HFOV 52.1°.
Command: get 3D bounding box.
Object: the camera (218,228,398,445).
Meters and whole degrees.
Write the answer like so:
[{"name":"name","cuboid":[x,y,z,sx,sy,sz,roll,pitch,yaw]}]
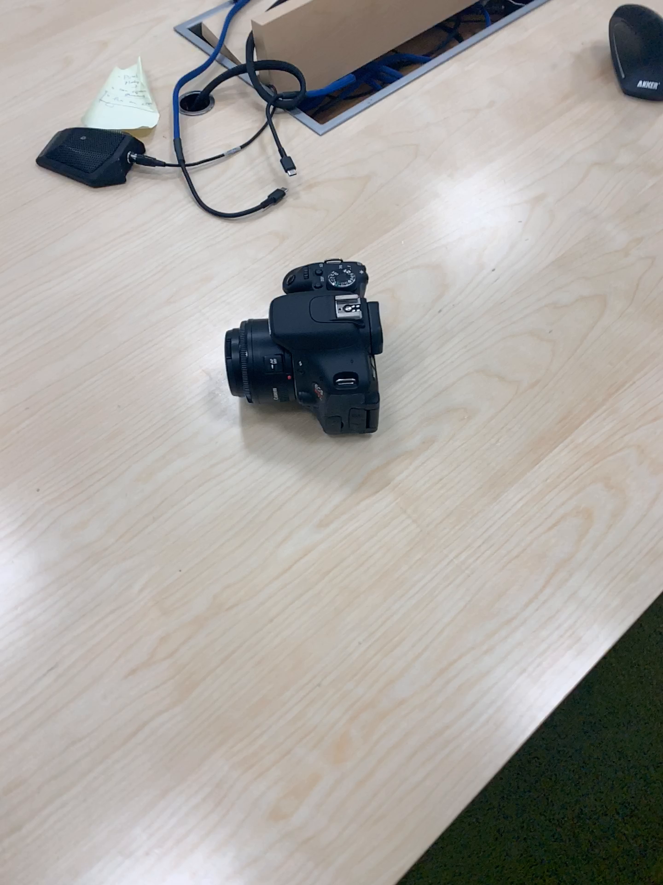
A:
[{"name":"camera","cuboid":[-0.018,-0.080,0.523,0.120,0.090,0.130,-4,61,0]}]
